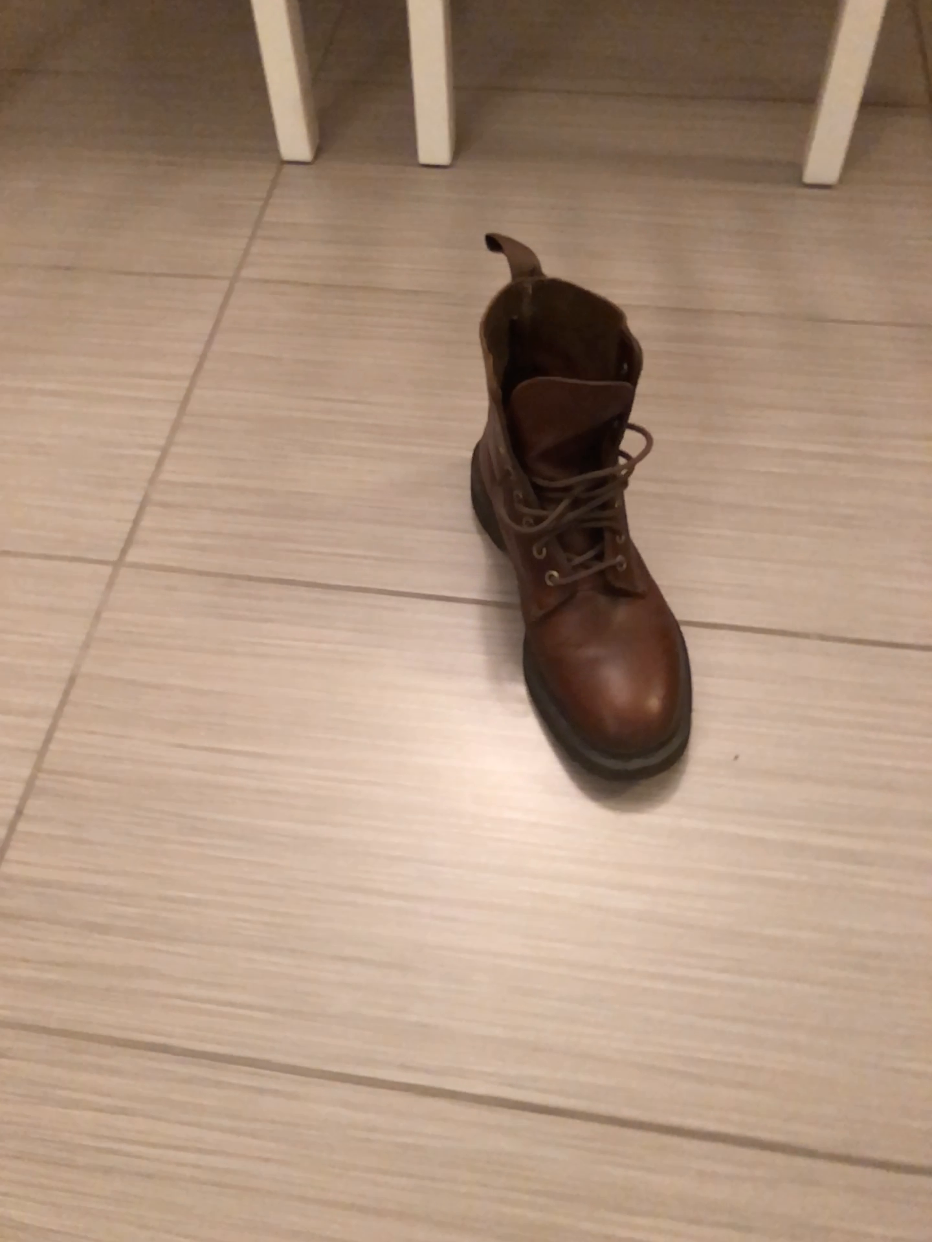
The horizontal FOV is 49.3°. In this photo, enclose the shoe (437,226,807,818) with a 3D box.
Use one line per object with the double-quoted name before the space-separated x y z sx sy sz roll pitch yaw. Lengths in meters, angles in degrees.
"shoe" 0.073 -0.060 0.600 0.115 0.180 0.283 -11 57 -3
